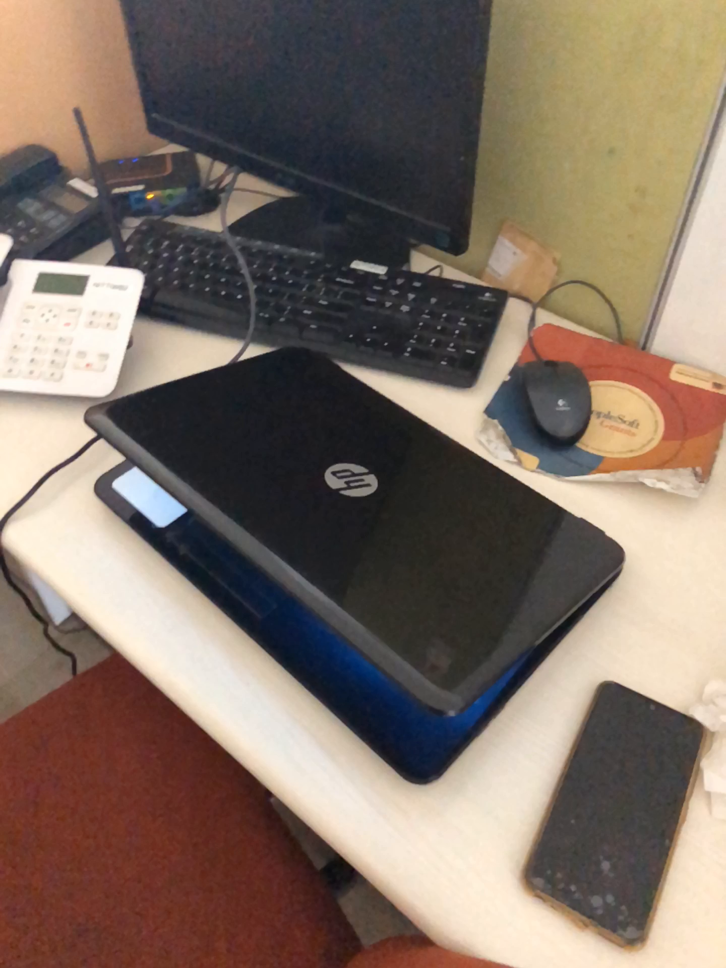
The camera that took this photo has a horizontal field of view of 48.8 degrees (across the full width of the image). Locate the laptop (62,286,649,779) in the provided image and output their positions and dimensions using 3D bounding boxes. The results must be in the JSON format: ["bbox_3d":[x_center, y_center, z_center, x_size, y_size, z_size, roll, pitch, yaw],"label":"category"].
[{"bbox_3d":[-0.013,0.003,0.608,0.351,0.072,0.246,36,58,27],"label":"laptop"}]
